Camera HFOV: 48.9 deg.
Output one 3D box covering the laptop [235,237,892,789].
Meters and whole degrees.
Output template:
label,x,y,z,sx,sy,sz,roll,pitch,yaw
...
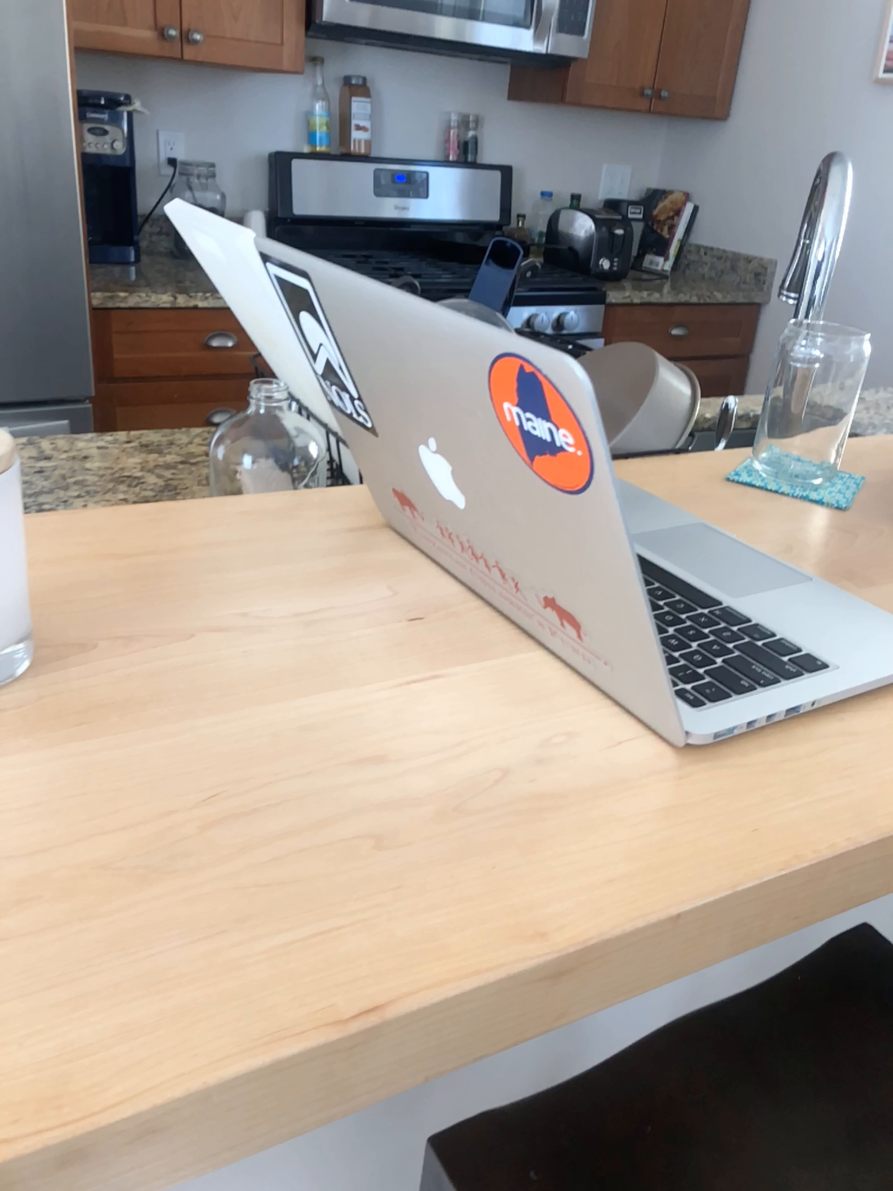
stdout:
label,x,y,z,sx,sy,sz,roll,pitch,yaw
laptop,0.086,-0.092,0.598,0.324,0.188,0.323,-11,30,-30
